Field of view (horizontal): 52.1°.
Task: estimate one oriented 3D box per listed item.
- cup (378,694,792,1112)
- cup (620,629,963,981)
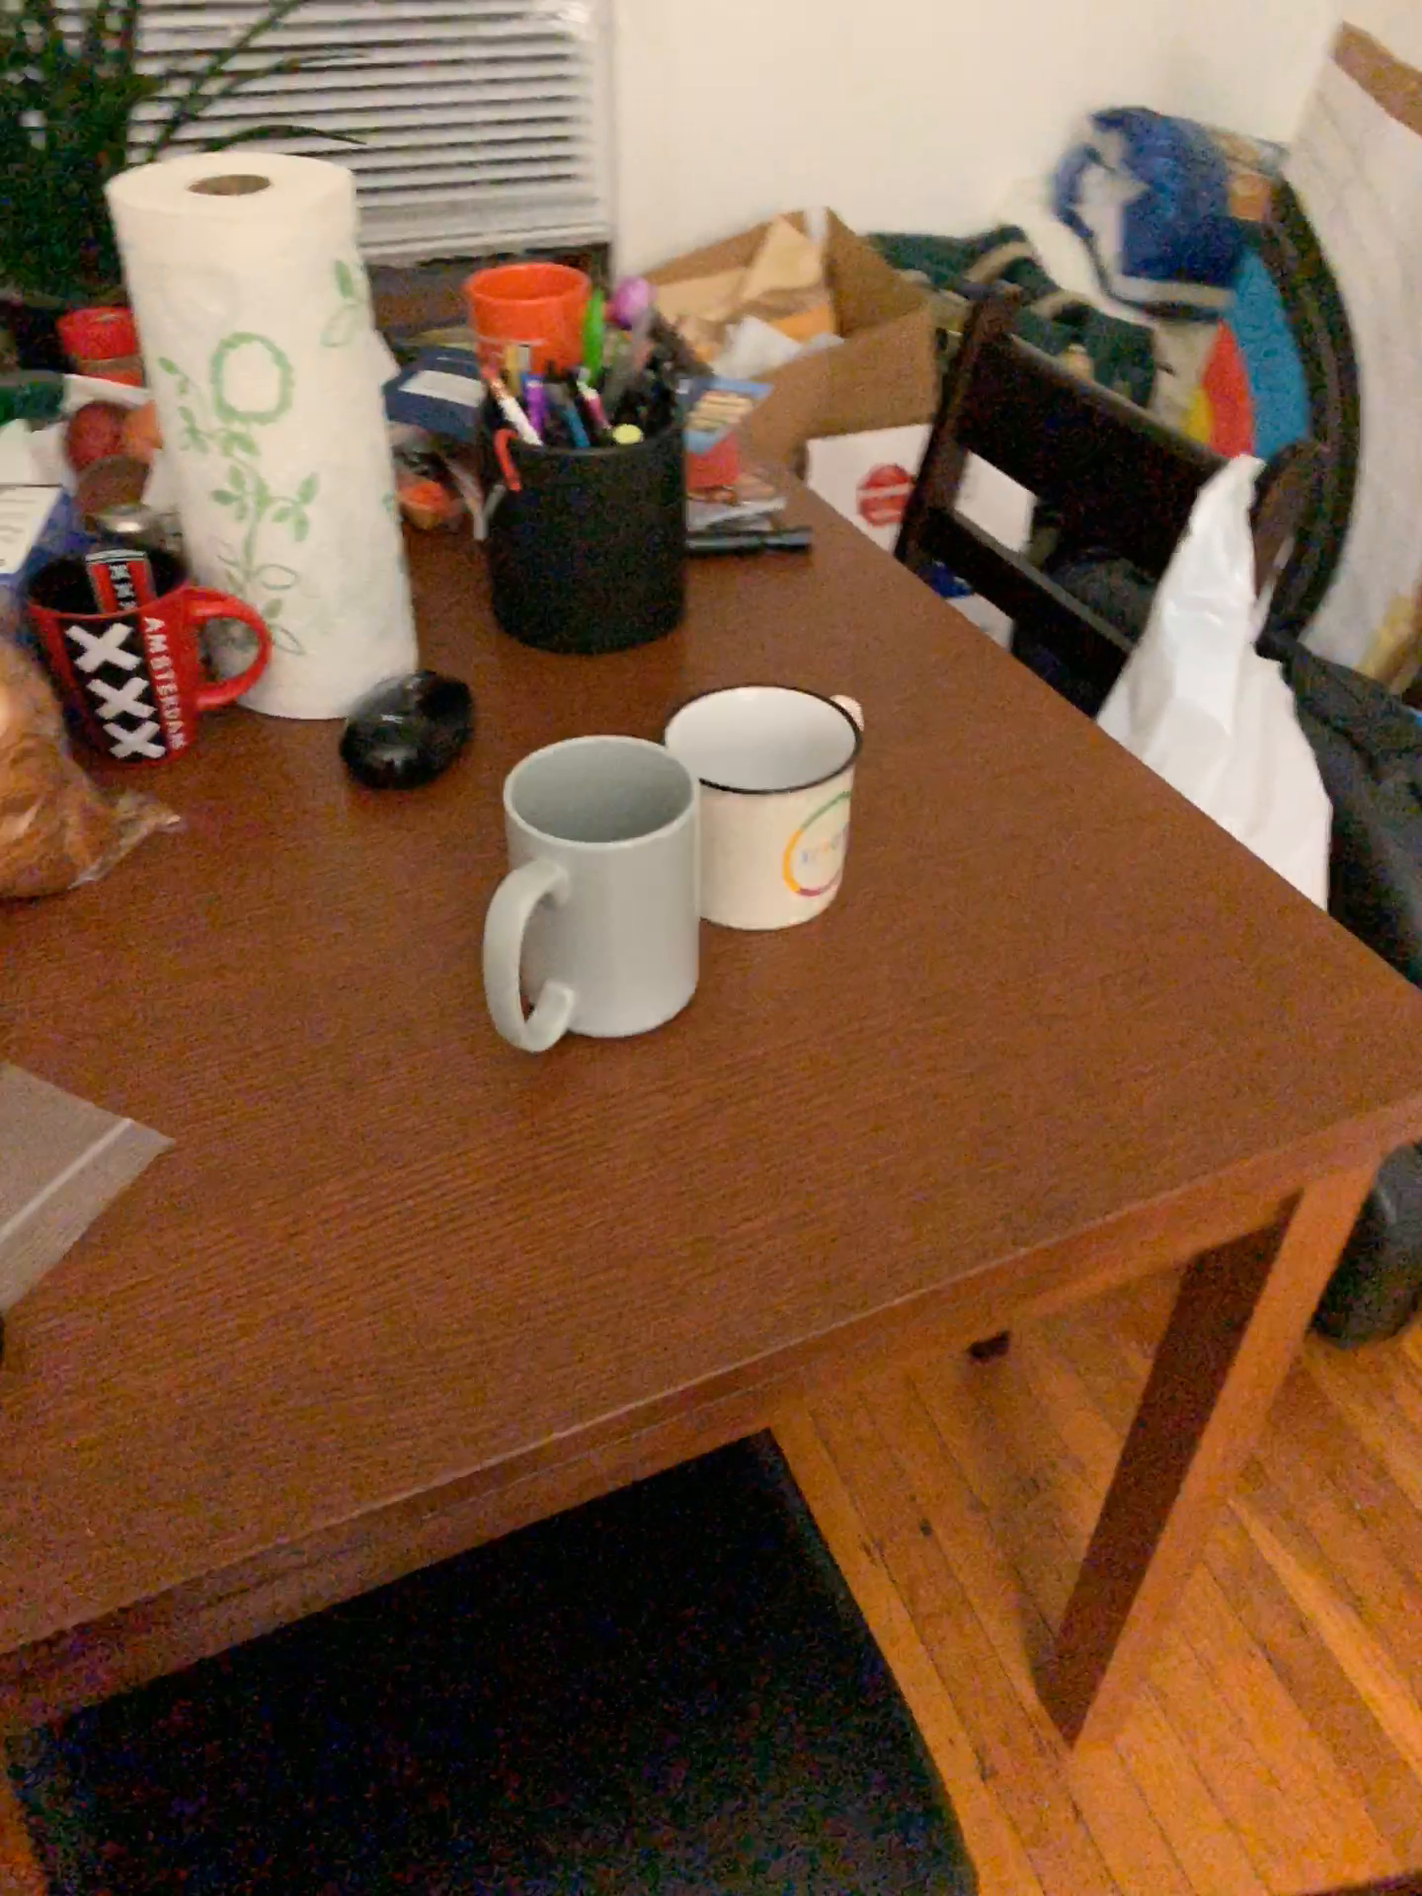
[{"bbox_3d":[-0.052,-0.024,0.637,0.140,0.099,0.100,-30,49,-31],"label":"cup"},{"bbox_3d":[0.039,-0.075,0.724,0.130,0.099,0.100,-30,49,-31],"label":"cup"}]
